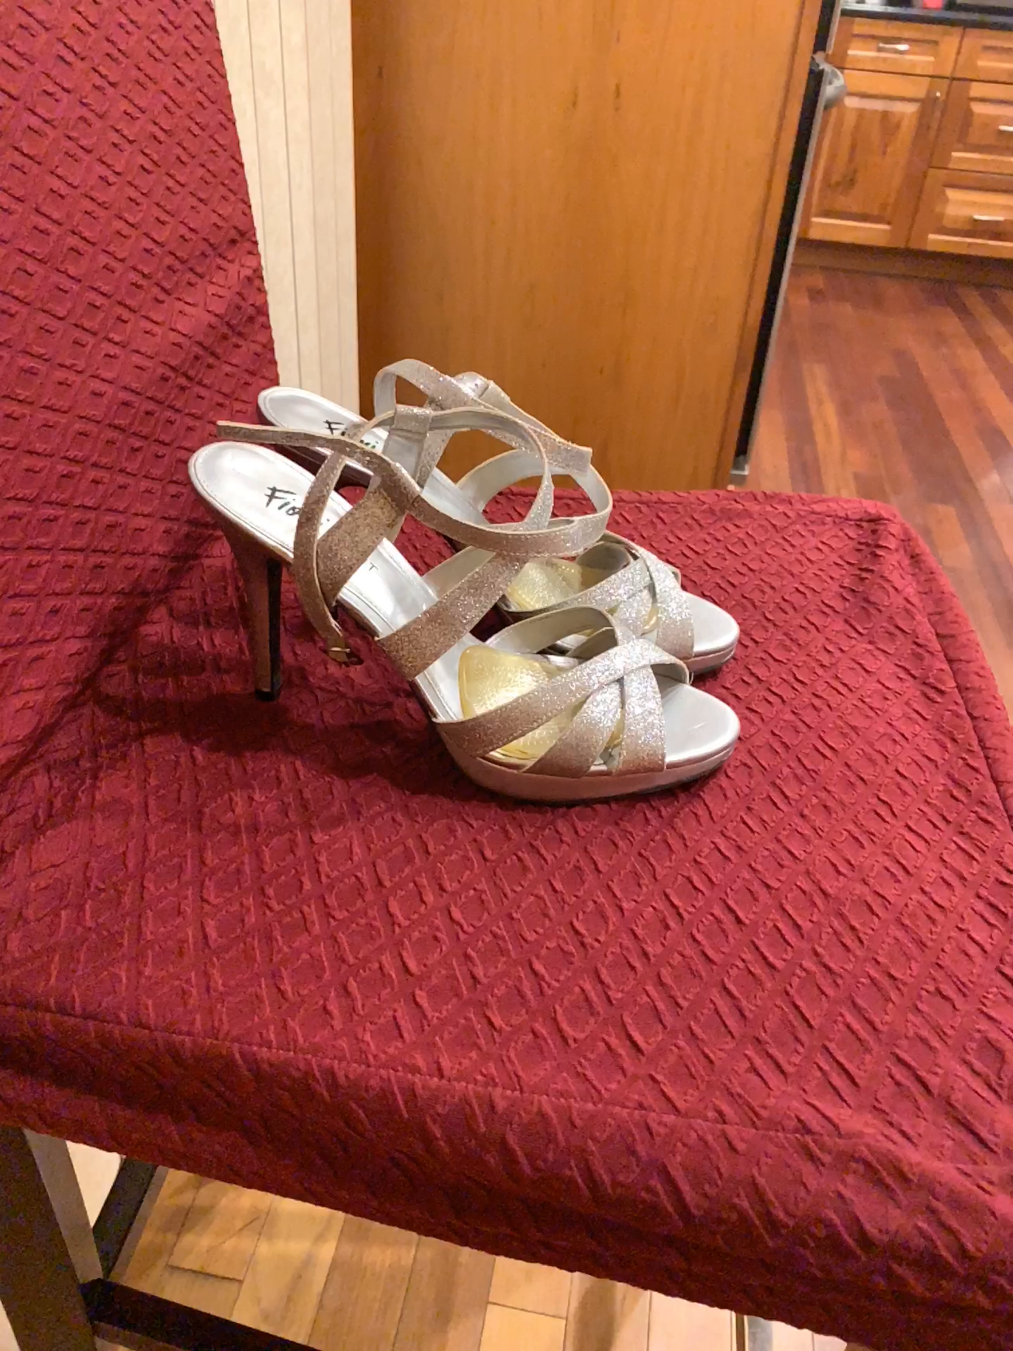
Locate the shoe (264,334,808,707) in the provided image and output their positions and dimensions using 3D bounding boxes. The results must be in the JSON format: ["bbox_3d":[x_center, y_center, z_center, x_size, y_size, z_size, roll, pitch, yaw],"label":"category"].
[{"bbox_3d":[0.012,-0.076,0.493,0.220,0.119,0.101,7,36,4],"label":"shoe"}]

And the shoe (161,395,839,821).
[{"bbox_3d":[-0.003,-0.030,0.427,0.230,0.119,0.101,5,35,1],"label":"shoe"}]
